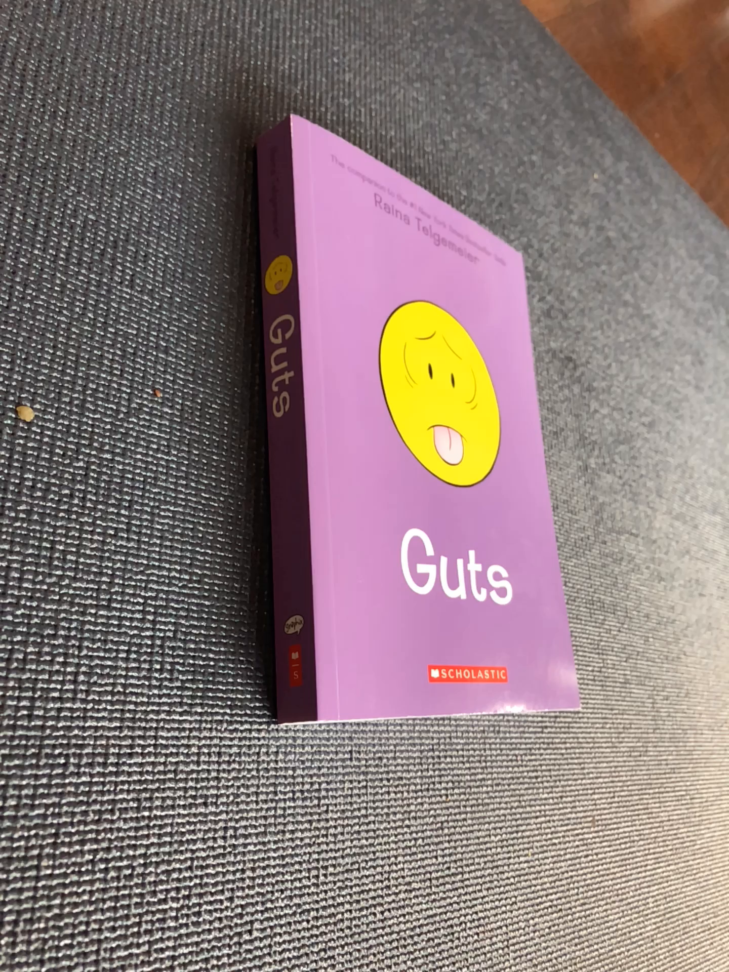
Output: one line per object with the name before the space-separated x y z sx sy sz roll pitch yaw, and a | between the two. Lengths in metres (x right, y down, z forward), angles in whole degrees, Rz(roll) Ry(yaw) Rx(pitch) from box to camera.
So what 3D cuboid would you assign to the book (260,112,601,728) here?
book | 0.027 -0.017 0.306 0.144 0.024 0.202 15 64 -44
